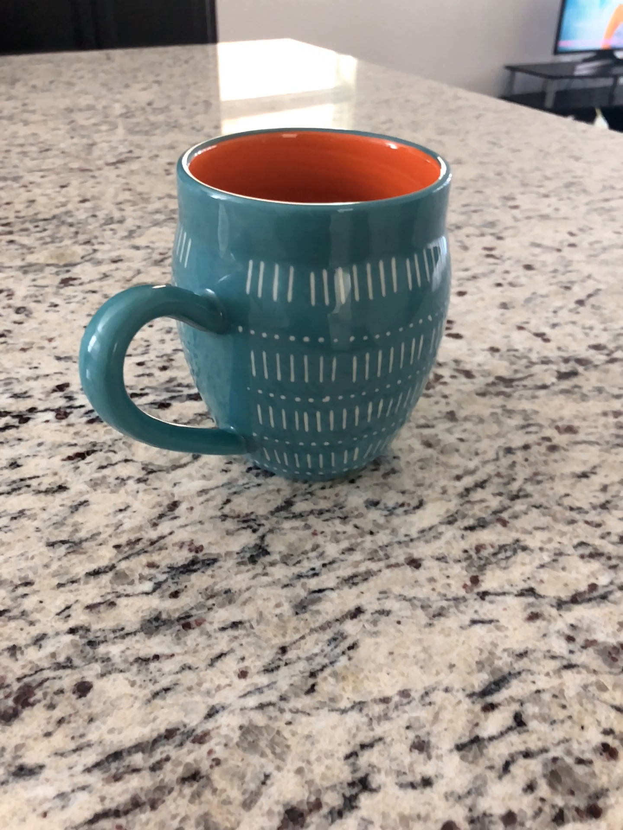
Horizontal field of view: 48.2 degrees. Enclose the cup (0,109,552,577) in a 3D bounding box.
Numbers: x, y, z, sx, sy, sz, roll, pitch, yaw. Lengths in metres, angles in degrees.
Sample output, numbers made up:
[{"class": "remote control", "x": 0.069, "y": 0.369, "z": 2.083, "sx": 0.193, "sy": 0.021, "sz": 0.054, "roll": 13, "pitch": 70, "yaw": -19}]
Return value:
[{"class": "cup", "x": -0.014, "y": -0.042, "z": 0.258, "sx": 0.151, "sy": 0.099, "sz": 0.110, "roll": -22, "pitch": 41, "yaw": -31}]
